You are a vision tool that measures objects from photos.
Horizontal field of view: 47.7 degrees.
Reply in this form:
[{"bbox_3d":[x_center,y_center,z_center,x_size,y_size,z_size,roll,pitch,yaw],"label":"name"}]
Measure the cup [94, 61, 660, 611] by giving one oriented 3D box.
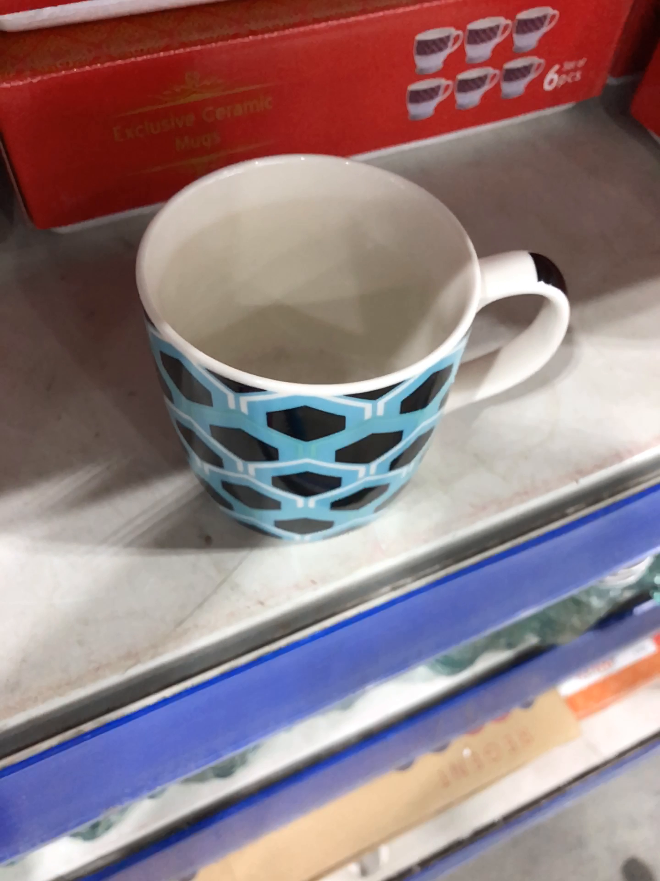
[{"bbox_3d":[0.006,-0.030,0.244,0.130,0.120,0.110,-9,58,-9],"label":"cup"}]
